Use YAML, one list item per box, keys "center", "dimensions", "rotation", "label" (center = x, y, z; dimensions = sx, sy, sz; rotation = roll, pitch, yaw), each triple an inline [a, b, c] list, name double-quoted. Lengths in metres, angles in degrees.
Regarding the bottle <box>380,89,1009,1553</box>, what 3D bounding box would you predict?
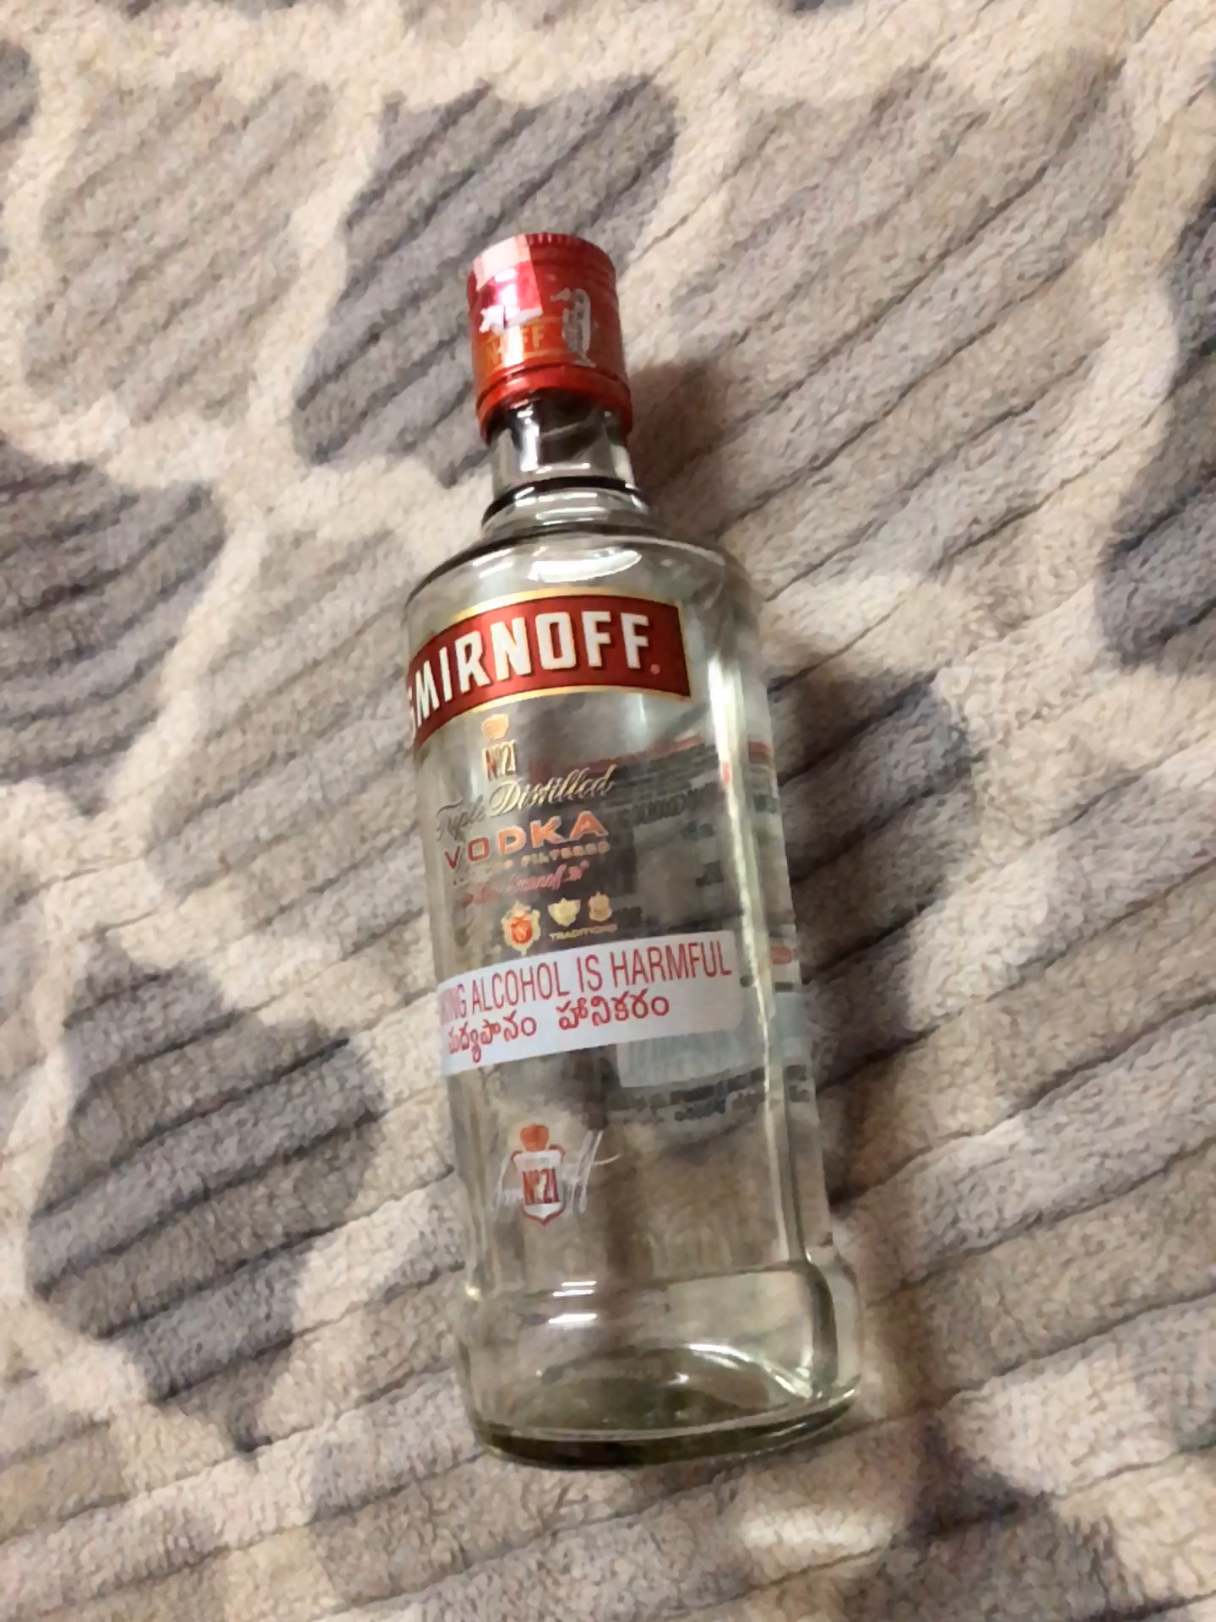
- center: [0.011, -0.002, 0.247]
  dimensions: [0.070, 0.060, 0.230]
  rotation: [-13, 73, 25]
  label: "bottle"
